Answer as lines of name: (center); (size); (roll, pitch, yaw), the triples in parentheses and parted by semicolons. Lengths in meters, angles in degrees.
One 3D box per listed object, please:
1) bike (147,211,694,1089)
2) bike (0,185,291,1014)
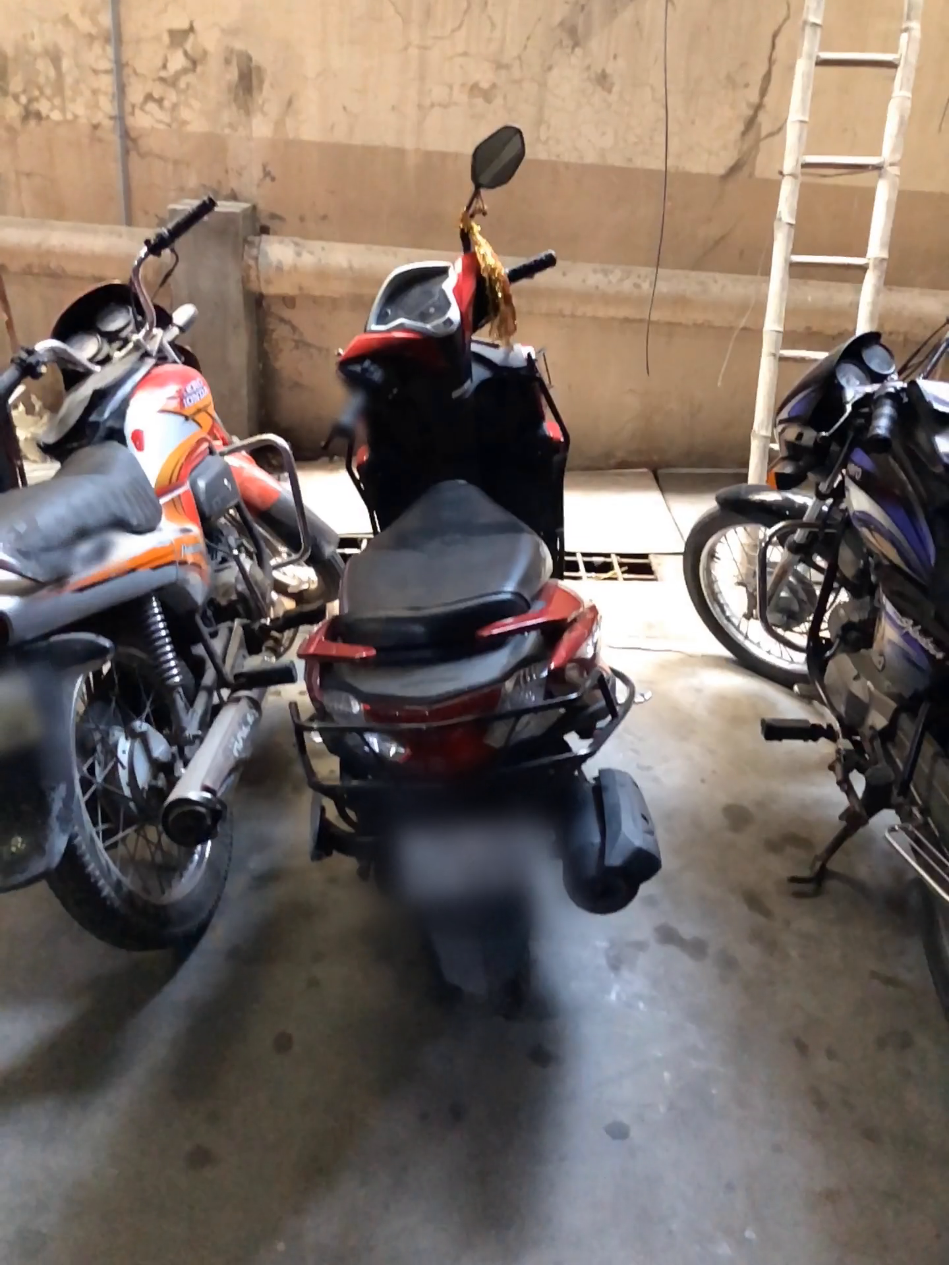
bike: (-0.145, -0.108, 2.091); (0.630, 1.140, 1.445); (2, 29, -5)
bike: (-0.880, -0.252, 2.170); (0.838, 1.090, 1.657); (2, 27, -5)
